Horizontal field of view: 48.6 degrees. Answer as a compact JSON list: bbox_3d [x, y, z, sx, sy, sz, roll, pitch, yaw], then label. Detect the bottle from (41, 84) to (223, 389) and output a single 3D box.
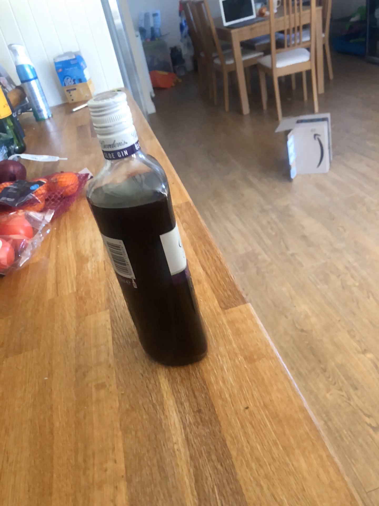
[{"bbox_3d":[-0.039,-0.008,0.372,0.080,0.238,0.101,-15,32,-1],"label":"bottle"}]
